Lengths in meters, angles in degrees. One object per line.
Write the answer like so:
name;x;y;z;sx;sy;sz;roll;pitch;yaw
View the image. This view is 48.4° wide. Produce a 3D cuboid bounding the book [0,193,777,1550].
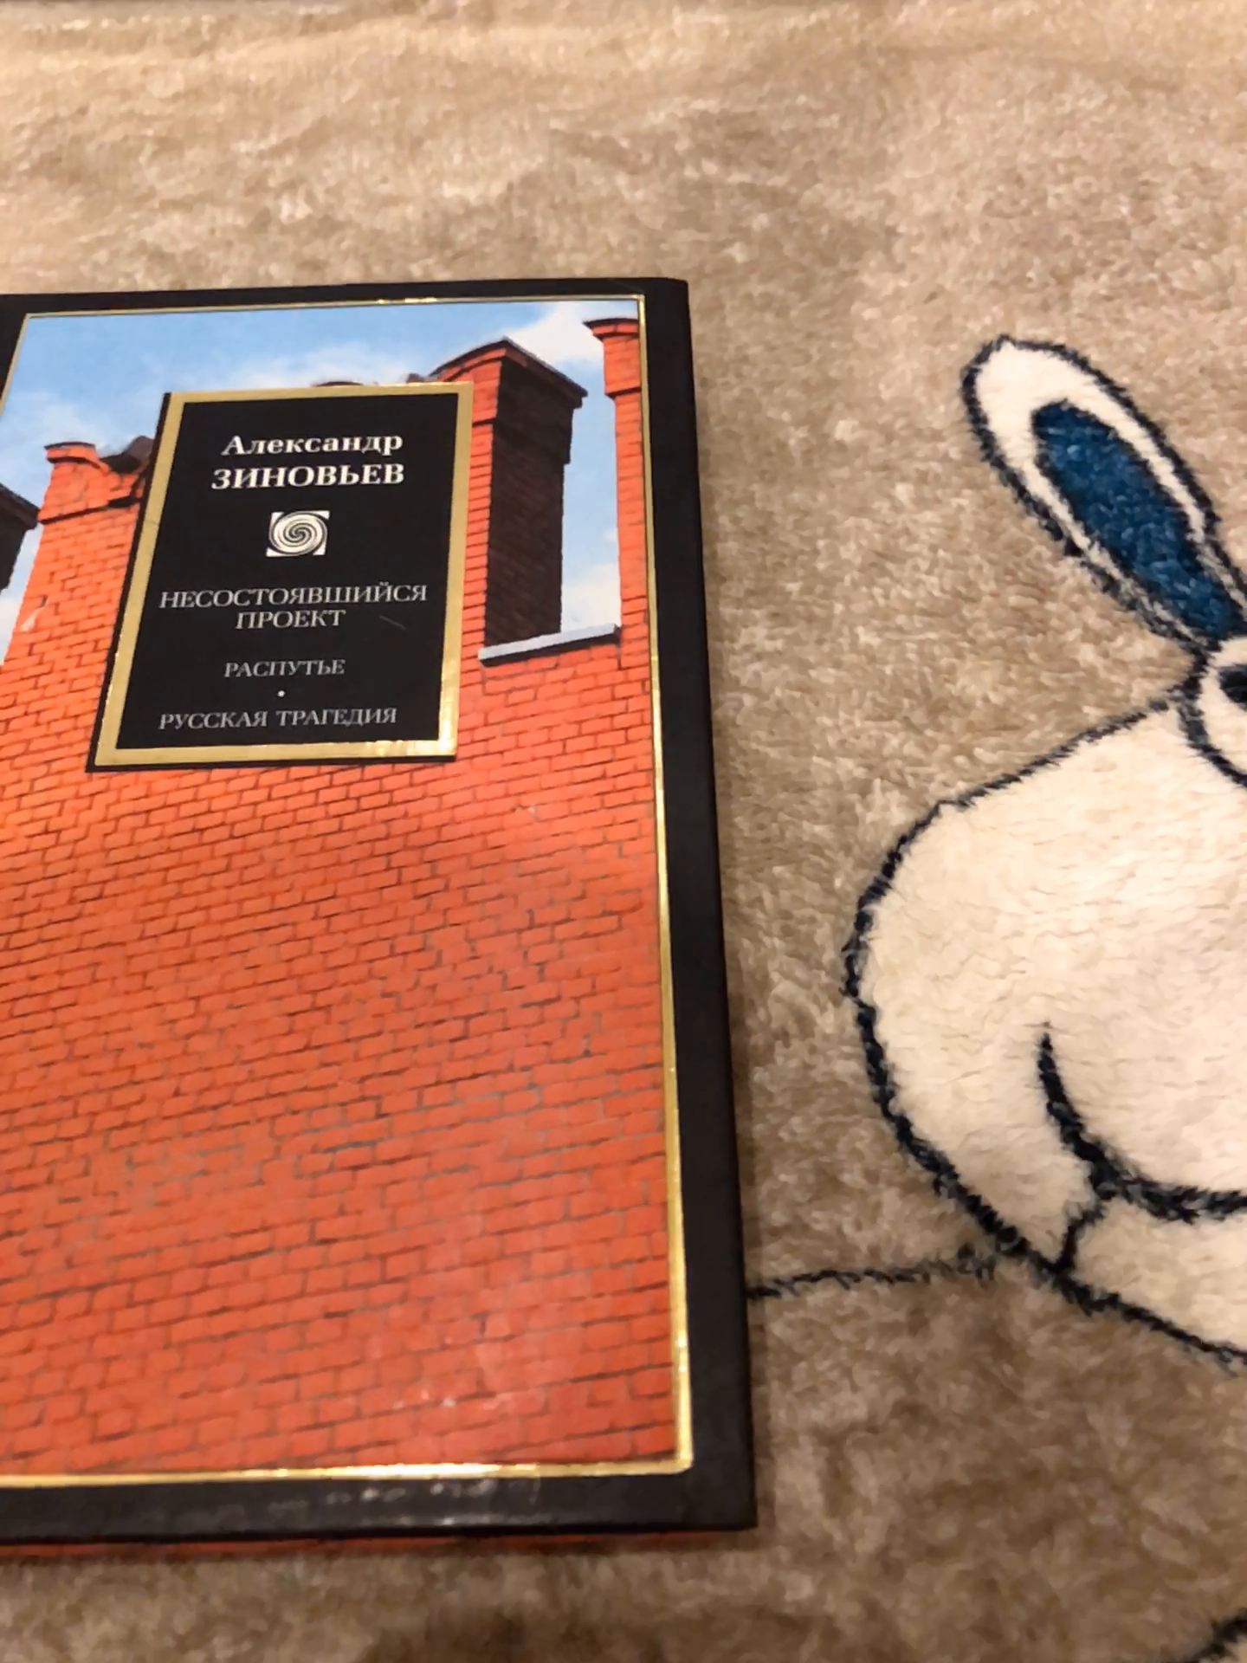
book;-0.054;-0.011;0.210;0.140;0.040;0.211;-1;59;1
